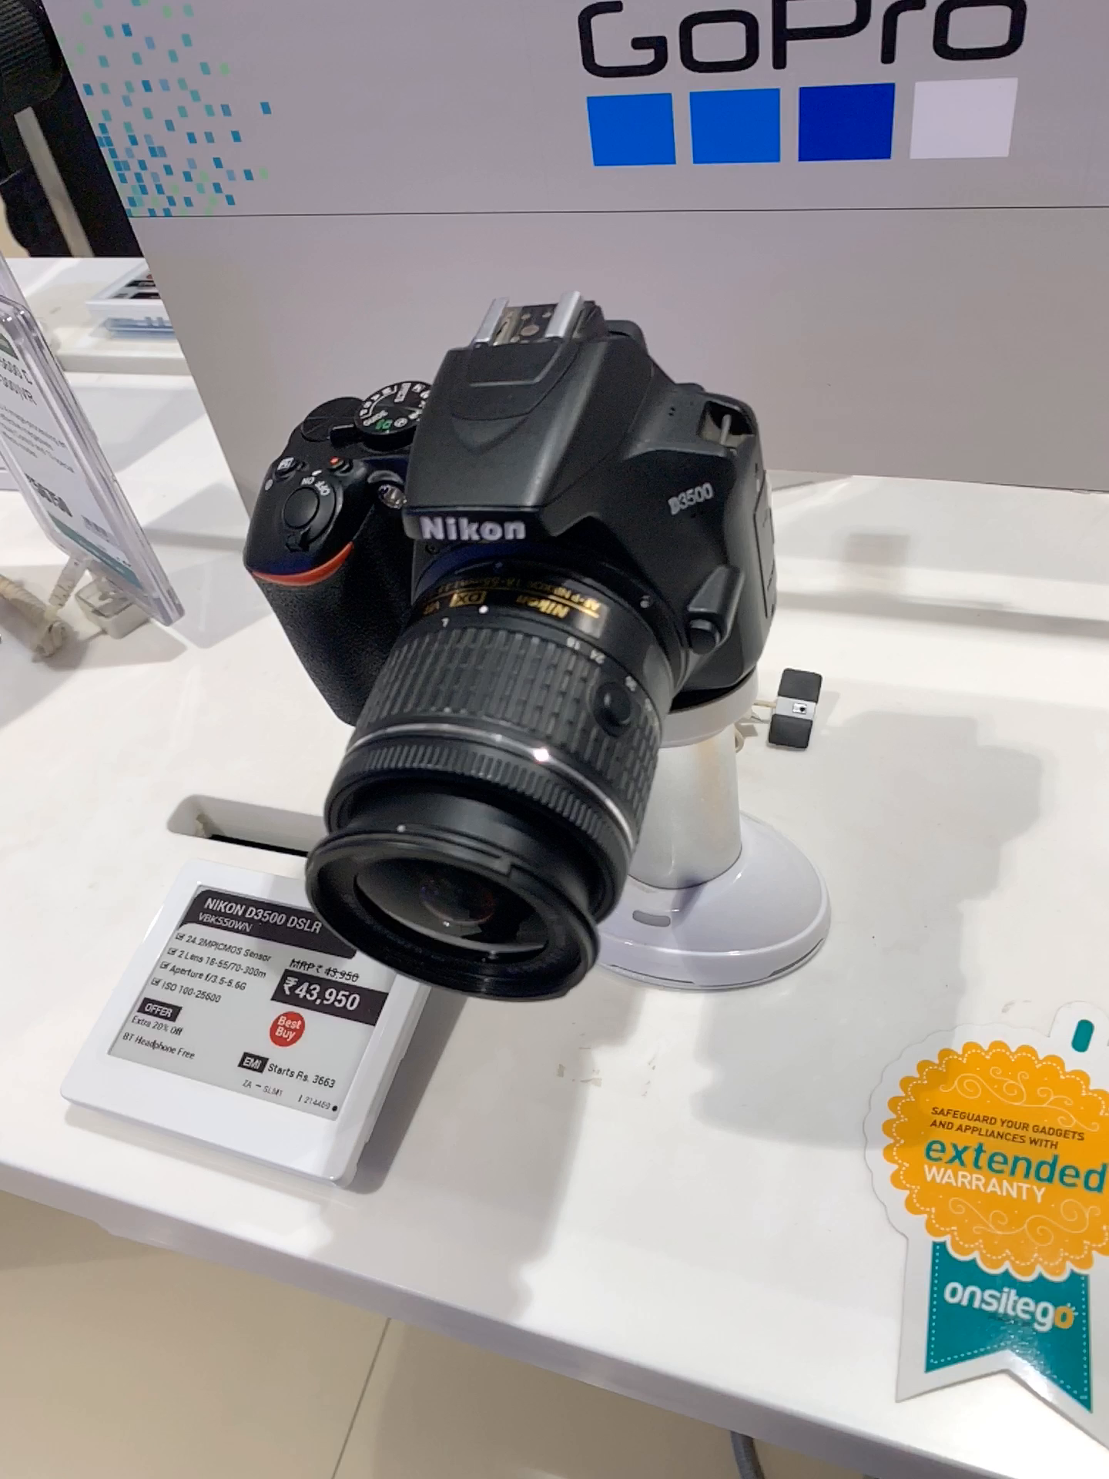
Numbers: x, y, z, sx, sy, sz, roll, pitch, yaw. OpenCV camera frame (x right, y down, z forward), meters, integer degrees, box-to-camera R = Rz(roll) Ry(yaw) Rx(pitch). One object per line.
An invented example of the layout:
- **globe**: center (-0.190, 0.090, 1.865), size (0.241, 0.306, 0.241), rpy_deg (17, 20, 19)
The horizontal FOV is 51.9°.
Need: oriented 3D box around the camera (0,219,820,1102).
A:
- **camera**: center (-0.008, -0.030, 0.262), size (0.120, 0.090, 0.180), rpy_deg (4, 49, 16)
